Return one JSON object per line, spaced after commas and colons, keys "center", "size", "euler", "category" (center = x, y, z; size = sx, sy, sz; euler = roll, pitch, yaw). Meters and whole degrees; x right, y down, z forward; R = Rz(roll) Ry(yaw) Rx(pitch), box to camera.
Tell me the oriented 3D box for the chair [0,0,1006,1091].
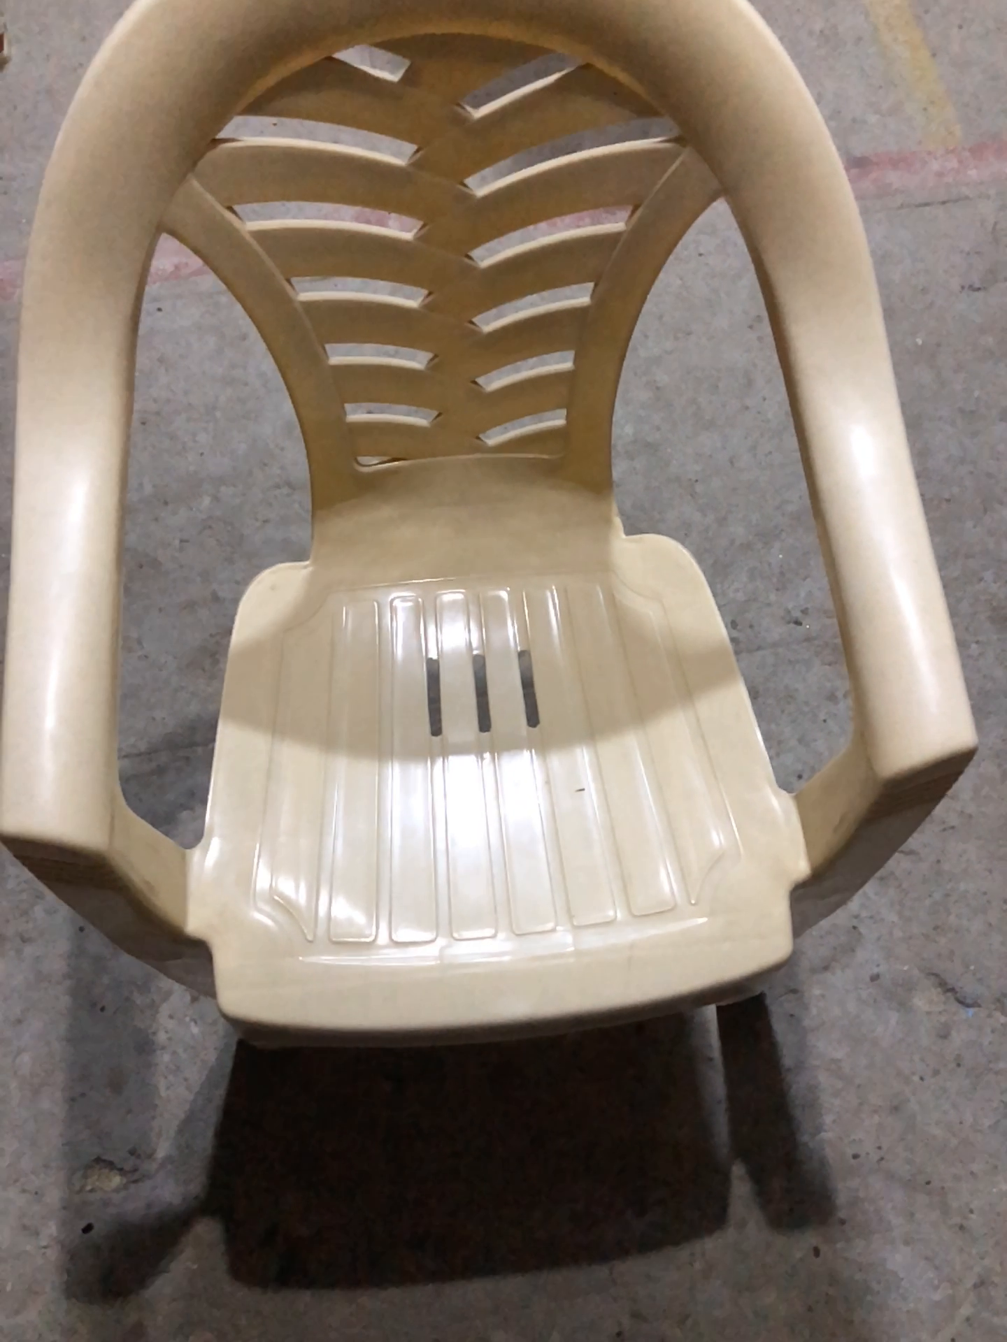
{"center": [-0.014, -0.020, 0.790], "size": [0.560, 0.868, 0.561], "euler": [-2, 70, -2], "category": "chair"}
